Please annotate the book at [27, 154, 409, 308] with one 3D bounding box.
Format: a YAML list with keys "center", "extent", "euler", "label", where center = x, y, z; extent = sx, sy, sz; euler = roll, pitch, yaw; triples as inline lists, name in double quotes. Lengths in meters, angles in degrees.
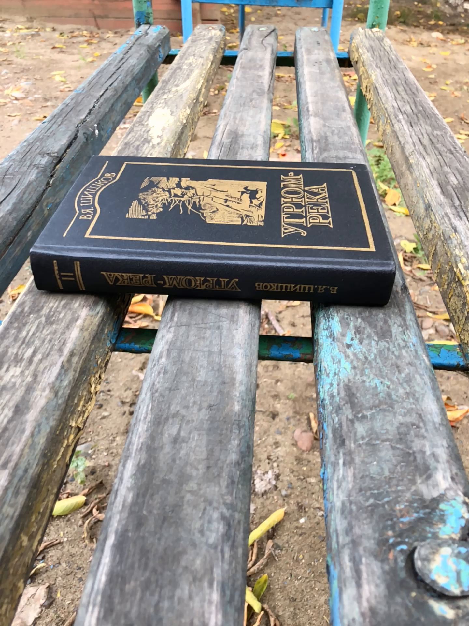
- center: [-0.007, -0.062, 0.348]
  extent: [0.210, 0.030, 0.138]
  euler: [2, 39, 1]
  label: "book"
